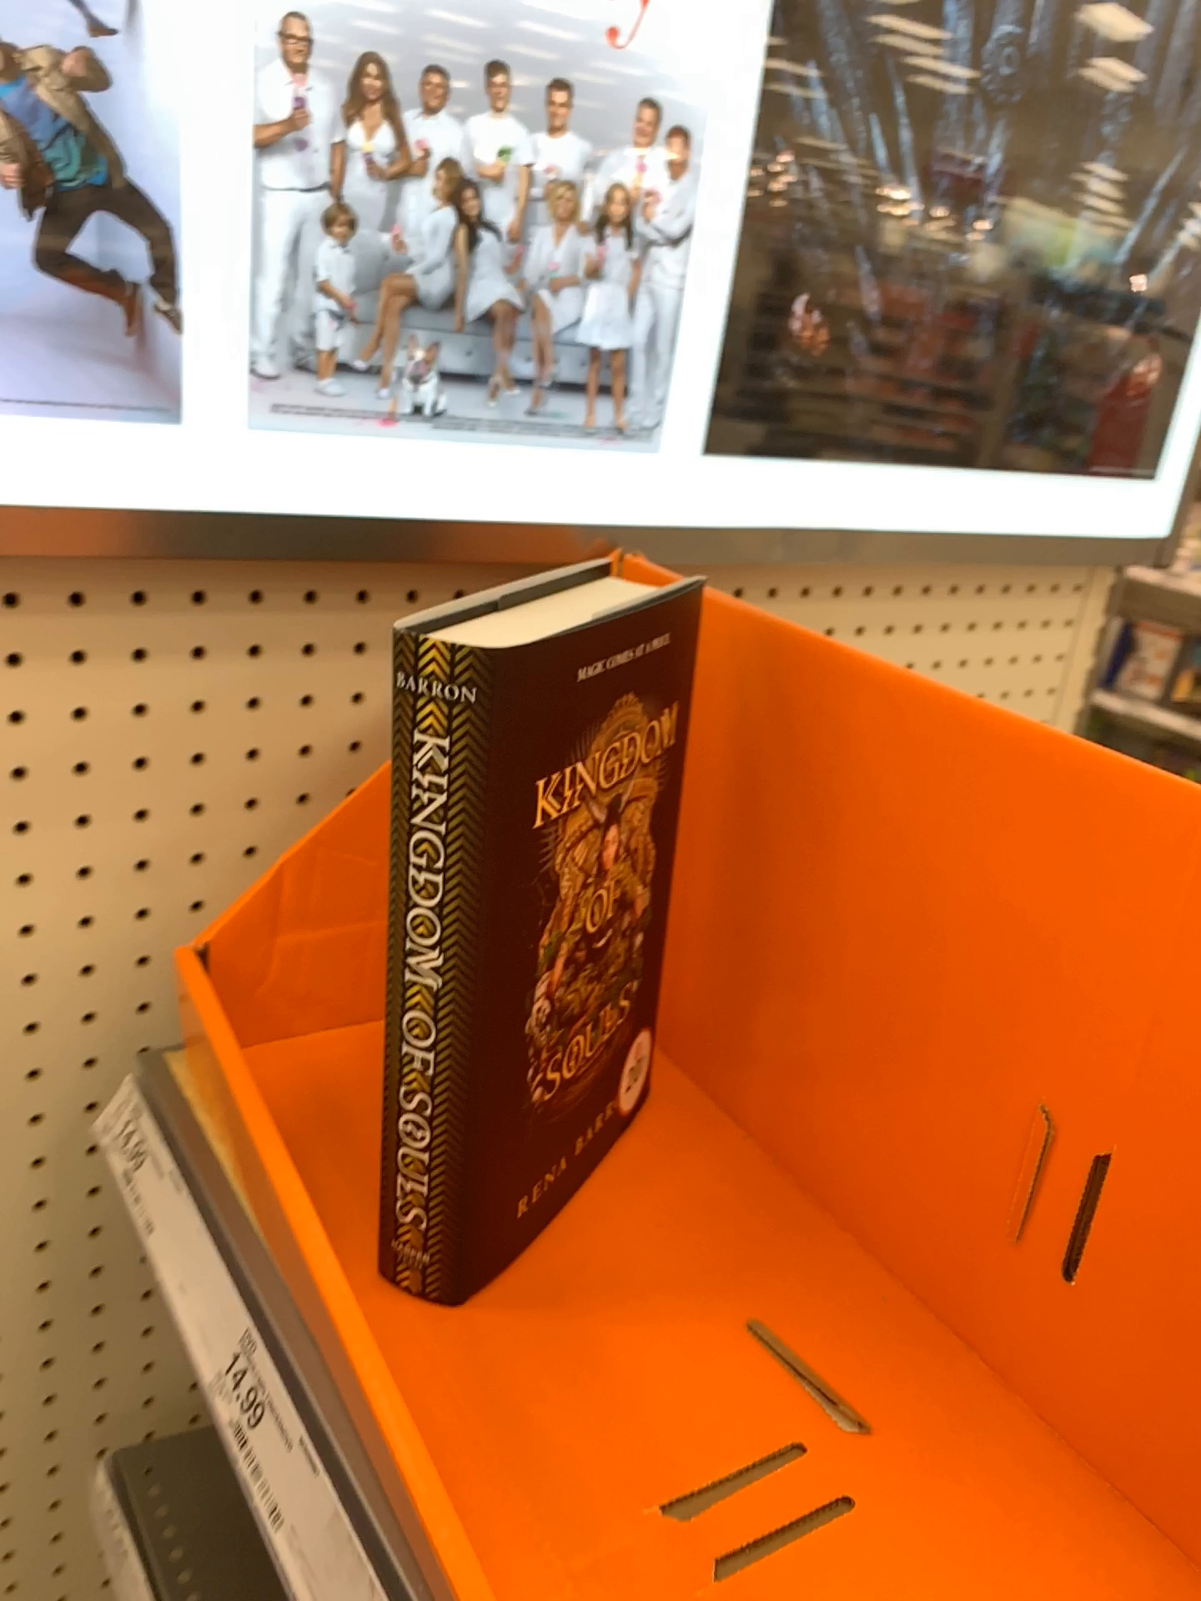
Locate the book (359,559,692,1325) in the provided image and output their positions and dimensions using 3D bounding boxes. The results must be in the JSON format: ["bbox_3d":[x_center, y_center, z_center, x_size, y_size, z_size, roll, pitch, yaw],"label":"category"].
[{"bbox_3d":[-0.026,0.042,0.468,0.040,0.240,0.161,13,21,24],"label":"book"}]
